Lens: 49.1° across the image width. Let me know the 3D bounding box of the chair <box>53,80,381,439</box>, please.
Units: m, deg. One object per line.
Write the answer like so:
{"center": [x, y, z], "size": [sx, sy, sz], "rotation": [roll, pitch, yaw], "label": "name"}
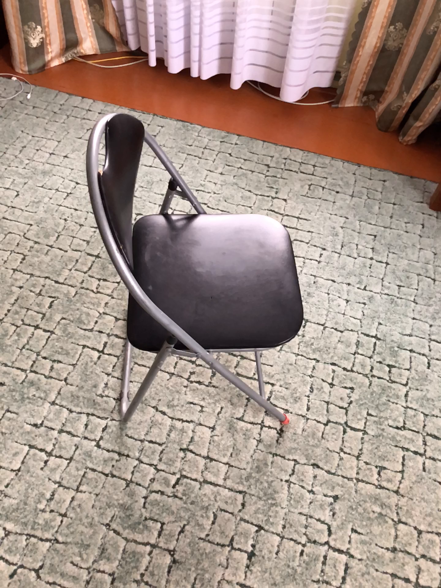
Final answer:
{"center": [-0.036, -0.024, 1.125], "size": [0.474, 0.732, 0.459], "rotation": [-2, 55, -5], "label": "chair"}
